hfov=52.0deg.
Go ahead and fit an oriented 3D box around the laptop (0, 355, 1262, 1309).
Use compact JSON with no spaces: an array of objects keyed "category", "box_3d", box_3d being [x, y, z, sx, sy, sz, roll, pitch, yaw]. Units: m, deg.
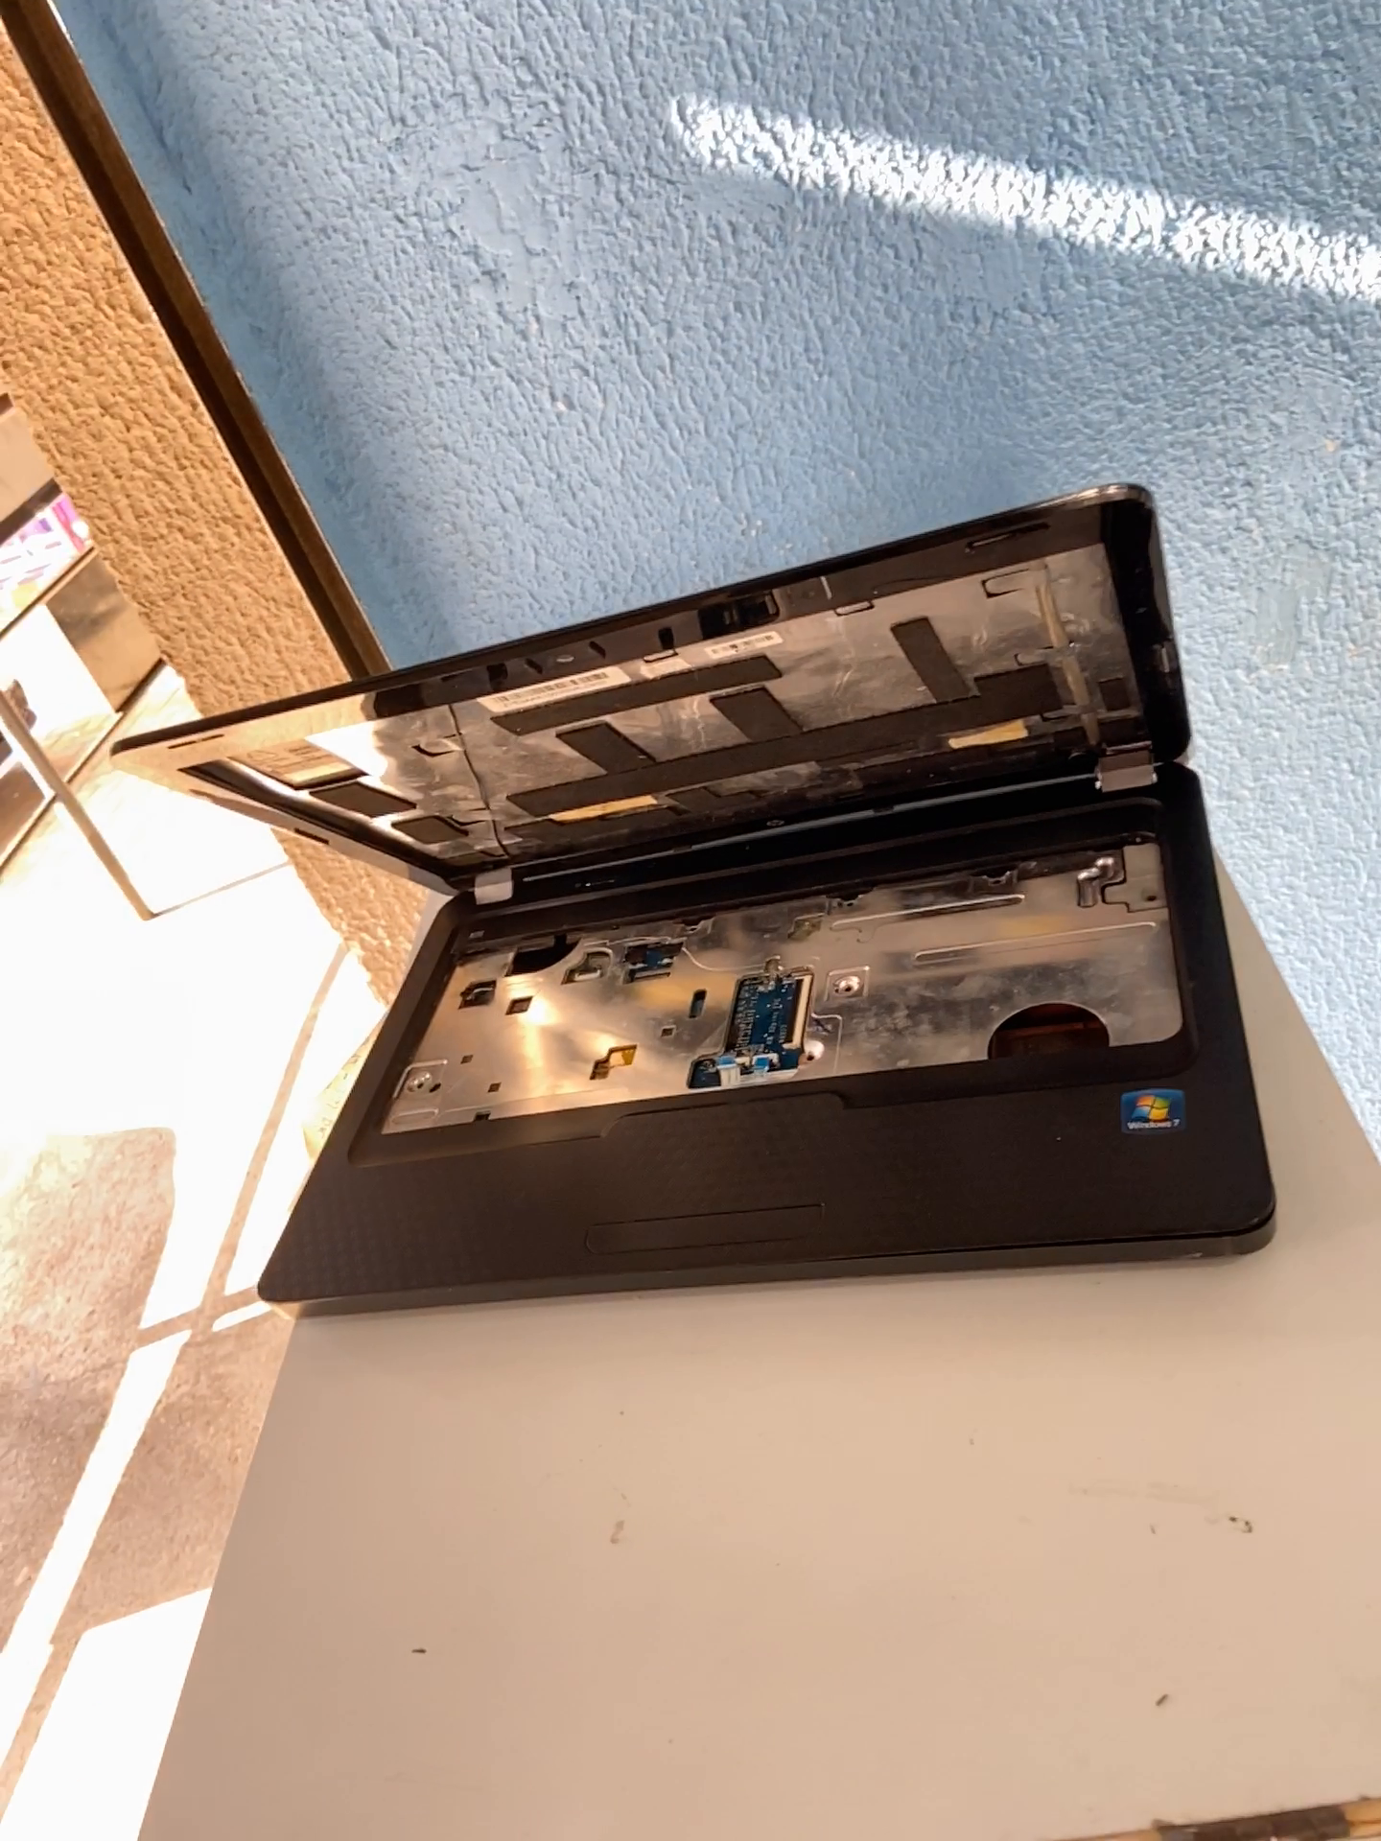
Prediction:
[{"category":"laptop","box_3d":[-0.009,-0.025,0.467,0.327,0.153,0.223,-10,35,20]}]
